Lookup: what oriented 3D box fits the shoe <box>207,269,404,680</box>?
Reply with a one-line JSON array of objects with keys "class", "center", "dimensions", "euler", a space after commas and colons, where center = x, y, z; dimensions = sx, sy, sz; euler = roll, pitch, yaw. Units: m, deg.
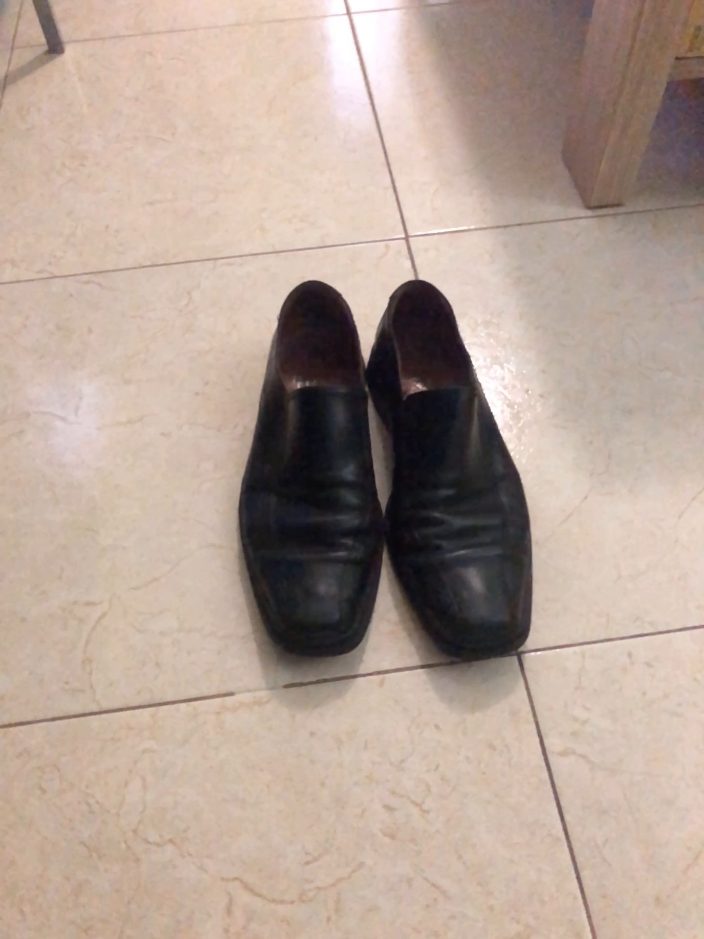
[{"class": "shoe", "center": [-0.034, -0.009, 0.597], "dimensions": [0.120, 0.090, 0.311], "euler": [-3, 56, 0]}]

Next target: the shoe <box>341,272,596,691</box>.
[{"class": "shoe", "center": [0.071, -0.005, 0.598], "dimensions": [0.120, 0.090, 0.311], "euler": [-7, 56, -3]}]
